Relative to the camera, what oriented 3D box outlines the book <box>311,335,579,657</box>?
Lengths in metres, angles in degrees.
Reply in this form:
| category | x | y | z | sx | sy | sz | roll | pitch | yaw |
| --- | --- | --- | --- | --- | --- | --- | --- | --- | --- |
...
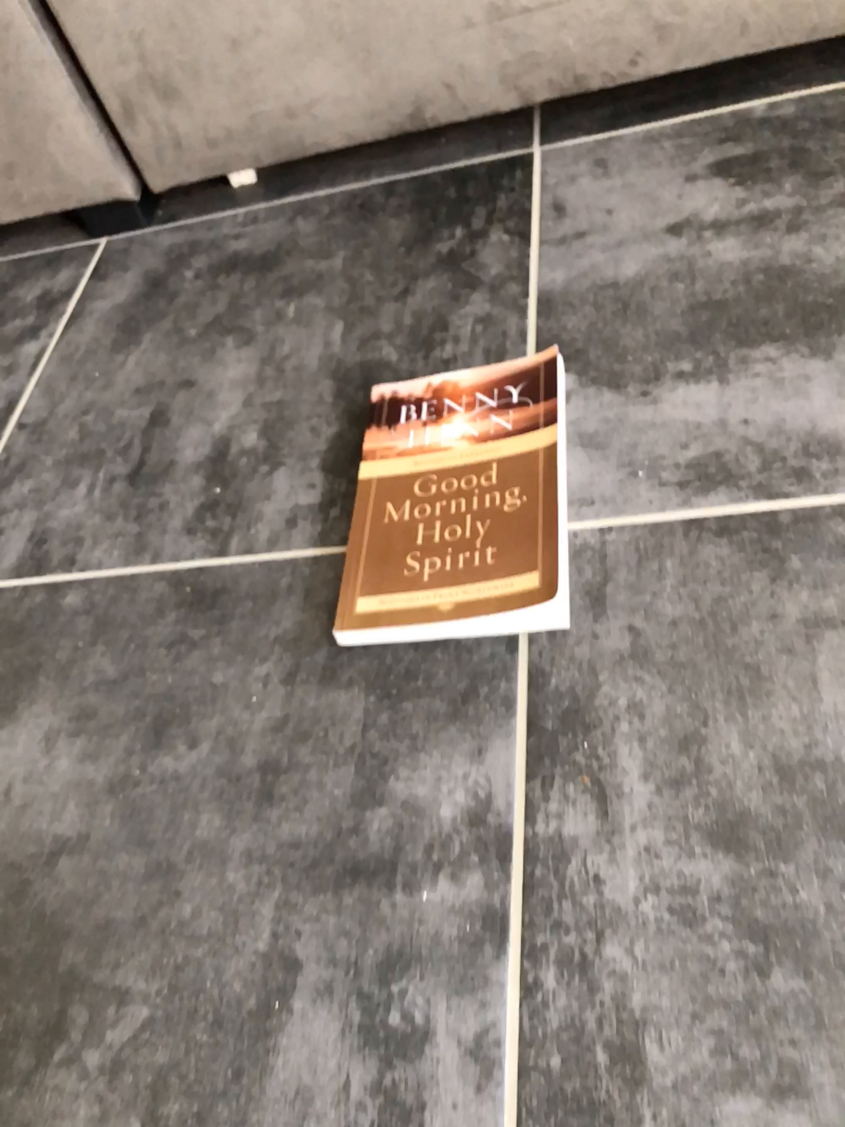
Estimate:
| category | x | y | z | sx | sy | sz | roll | pitch | yaw |
| --- | --- | --- | --- | --- | --- | --- | --- | --- | --- |
| book | 0.020 | -0.051 | 0.594 | 0.150 | 0.020 | 0.231 | -6 | 51 | 15 |
